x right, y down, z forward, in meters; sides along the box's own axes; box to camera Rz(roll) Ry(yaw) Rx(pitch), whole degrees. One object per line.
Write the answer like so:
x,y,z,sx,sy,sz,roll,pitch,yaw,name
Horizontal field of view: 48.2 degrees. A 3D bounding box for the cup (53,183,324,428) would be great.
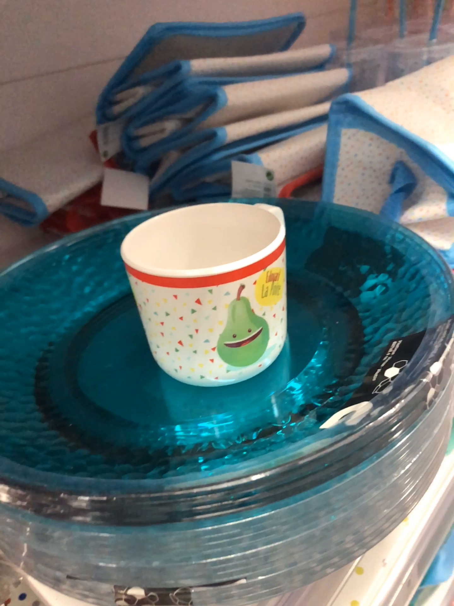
-0.011,-0.008,0.244,0.076,0.059,0.103,16,38,31,cup
